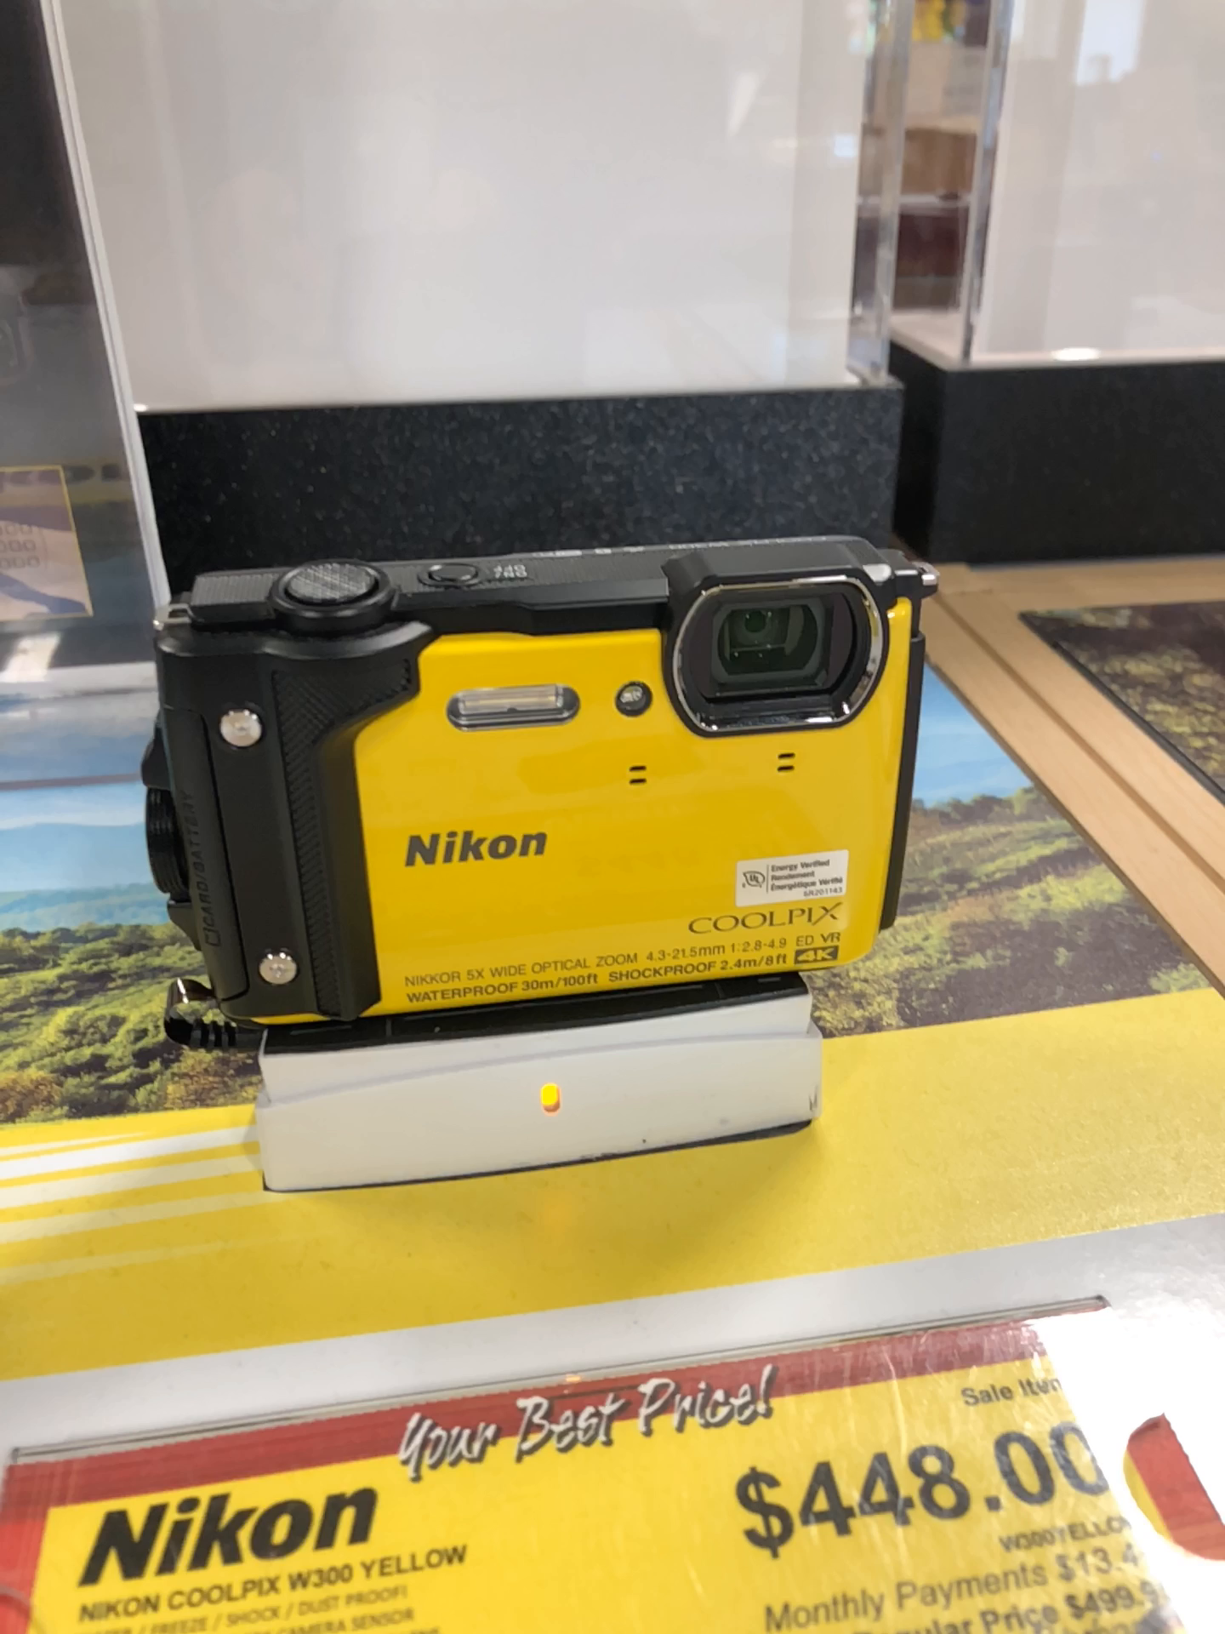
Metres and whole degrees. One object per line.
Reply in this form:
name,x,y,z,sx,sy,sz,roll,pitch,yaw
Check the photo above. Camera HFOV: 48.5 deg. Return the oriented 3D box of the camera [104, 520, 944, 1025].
camera,-0.011,-0.008,0.205,0.110,0.060,0.030,-5,29,-8
